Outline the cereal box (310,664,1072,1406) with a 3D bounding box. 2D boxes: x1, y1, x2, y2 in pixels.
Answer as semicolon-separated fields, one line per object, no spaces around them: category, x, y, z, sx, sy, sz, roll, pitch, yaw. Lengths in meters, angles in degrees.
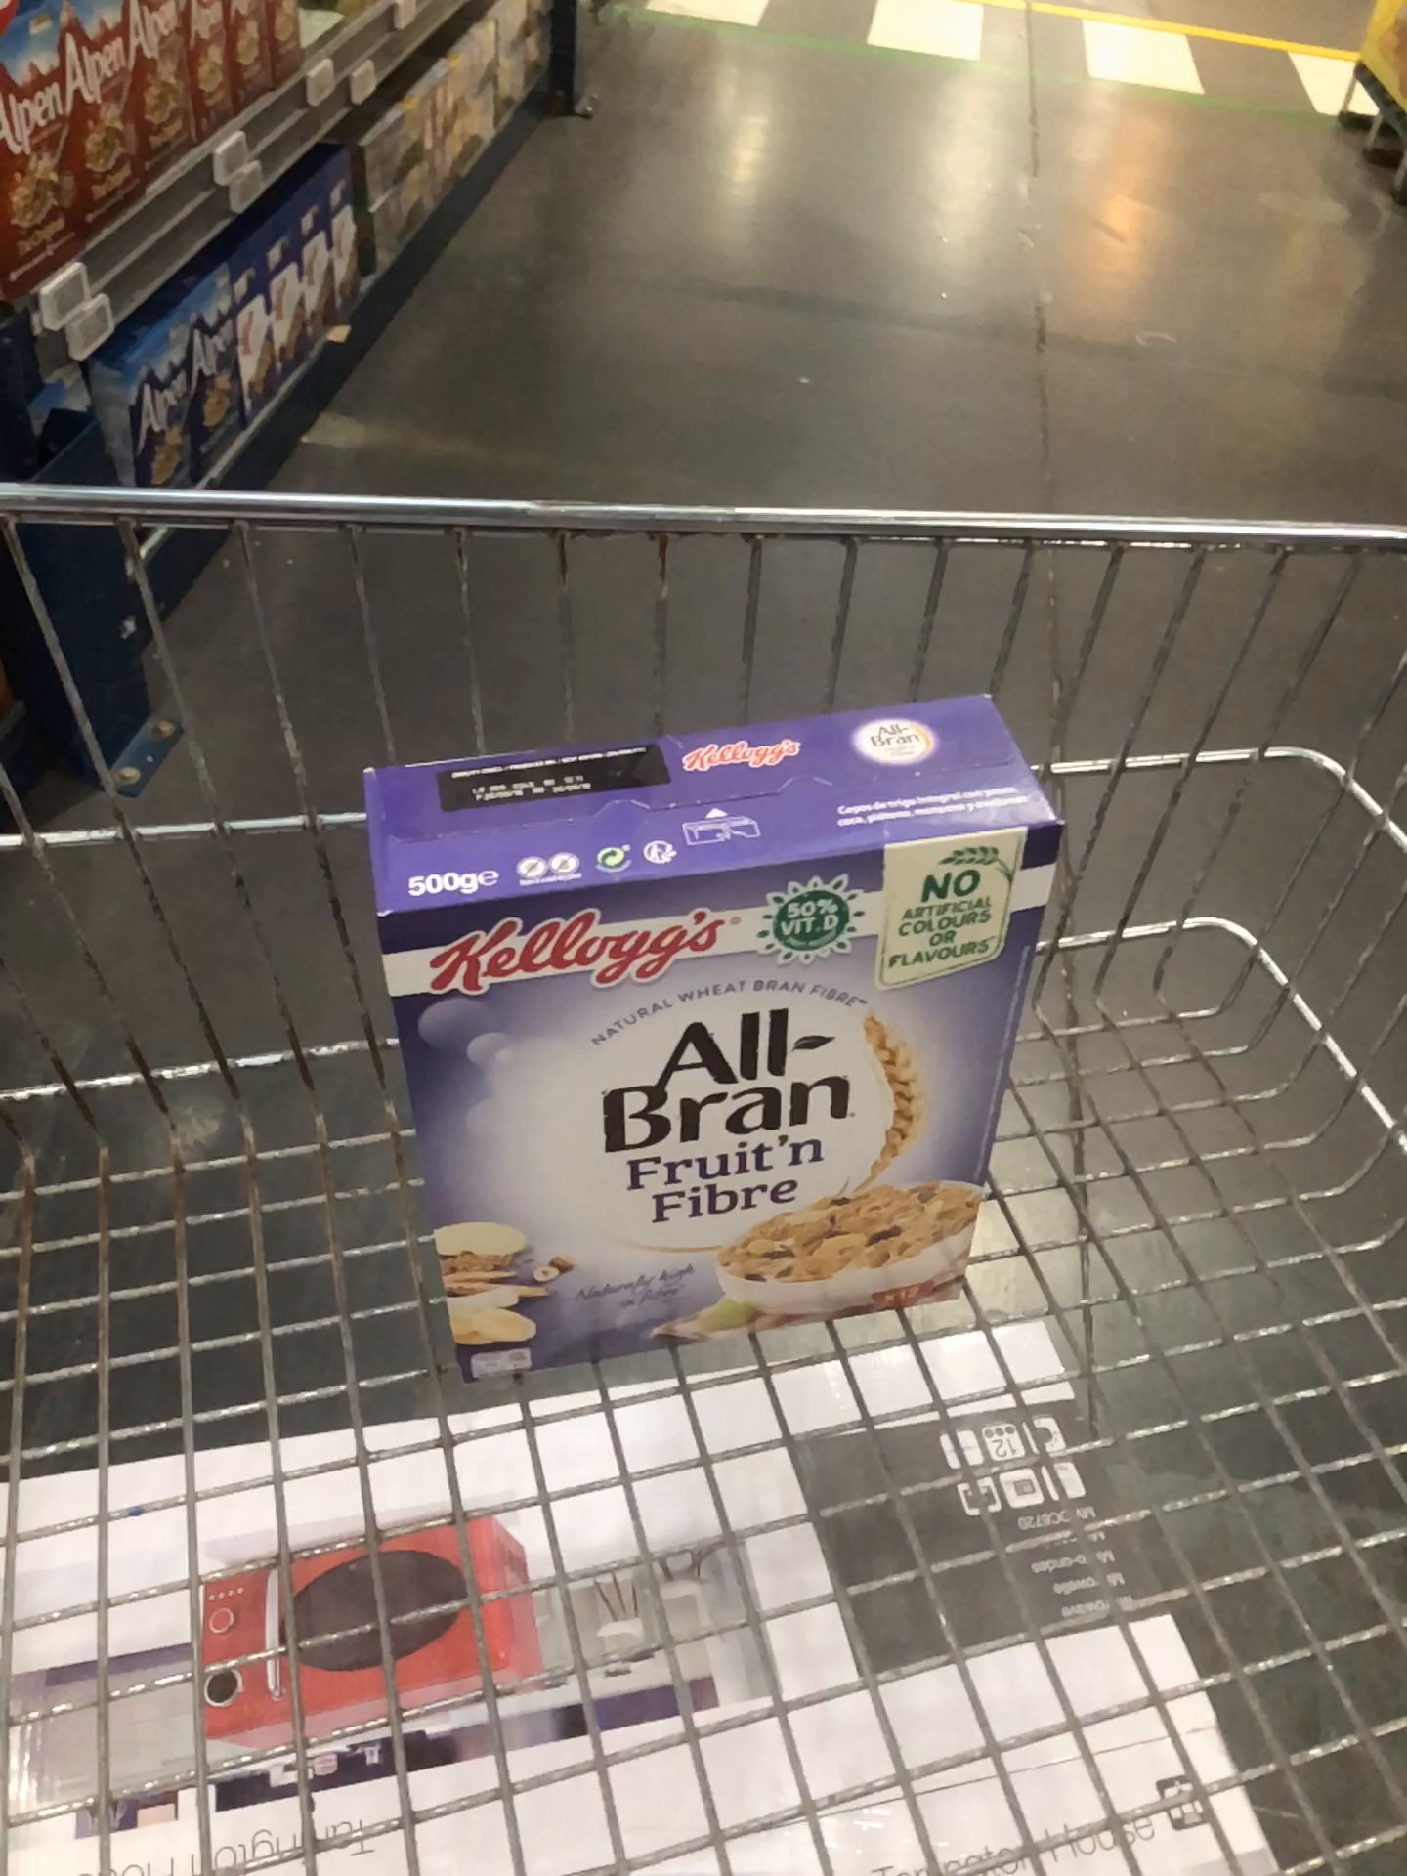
cereal box;-0.007;0.040;0.513;0.200;0.229;0.080;-9;45;-10
